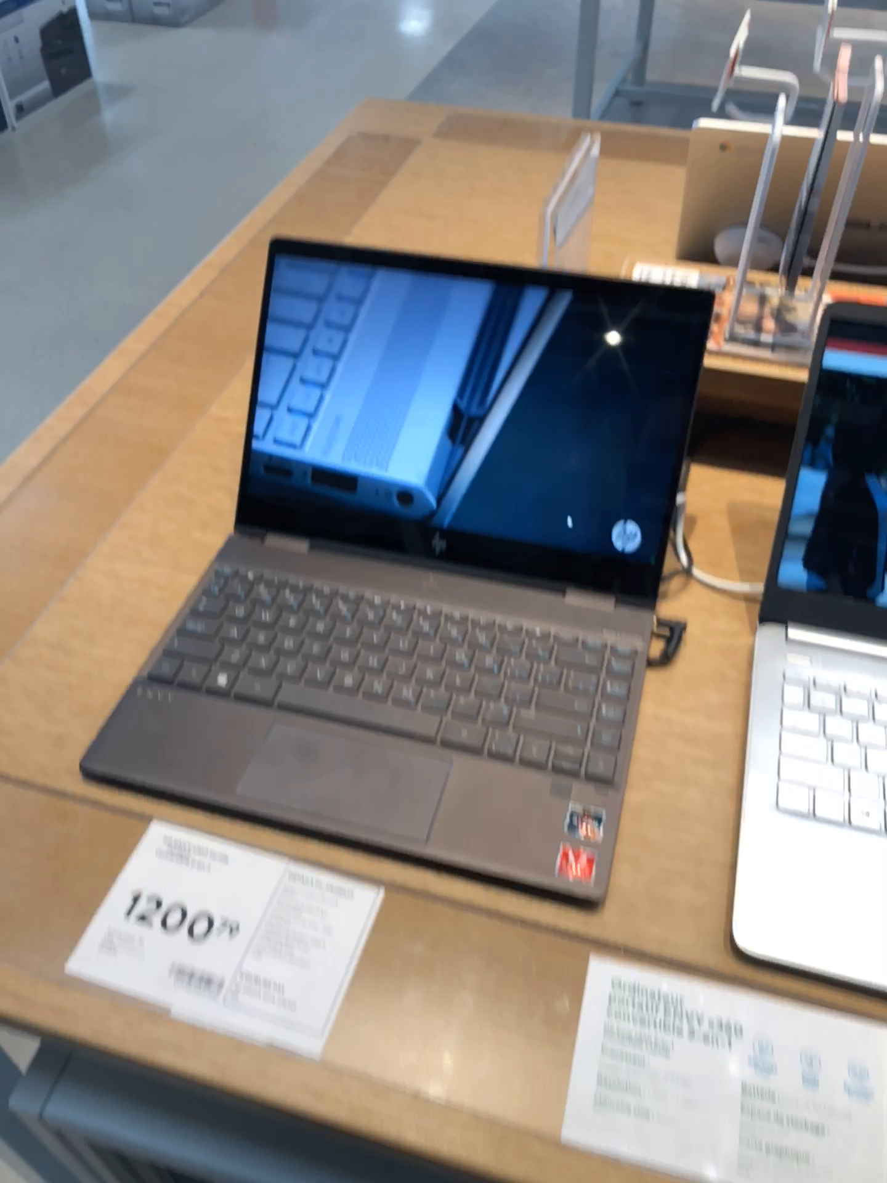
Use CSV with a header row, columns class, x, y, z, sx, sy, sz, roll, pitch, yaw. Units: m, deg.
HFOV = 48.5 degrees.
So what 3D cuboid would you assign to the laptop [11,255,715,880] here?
class,x,y,z,sx,sy,sz,roll,pitch,yaw
laptop,-0.016,-0.040,0.596,0.293,0.162,0.319,11,46,12
